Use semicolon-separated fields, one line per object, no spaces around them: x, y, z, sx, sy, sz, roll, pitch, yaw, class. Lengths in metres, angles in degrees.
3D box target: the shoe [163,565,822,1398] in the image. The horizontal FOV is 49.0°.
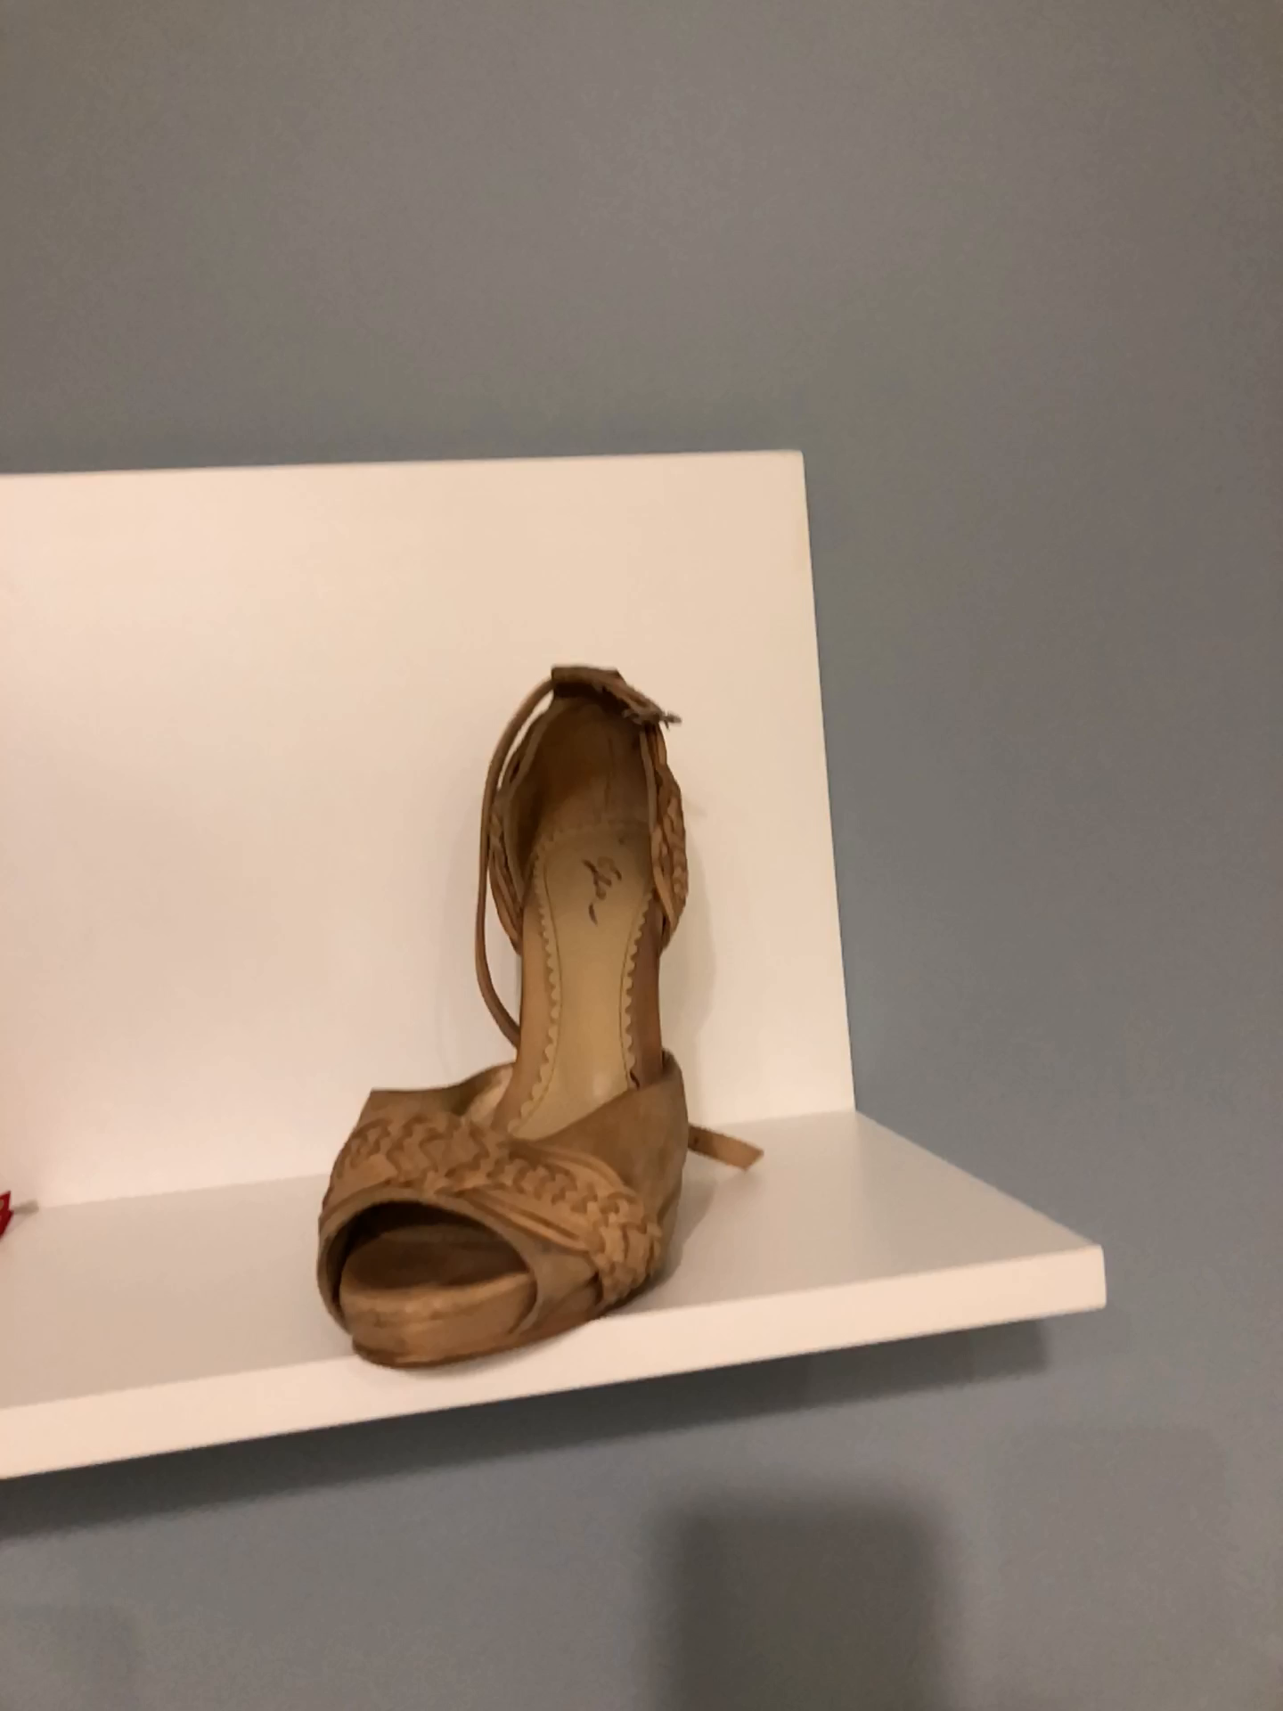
-0.026;0.027;0.420;0.100;0.180;0.210;-5;0;20;shoe
